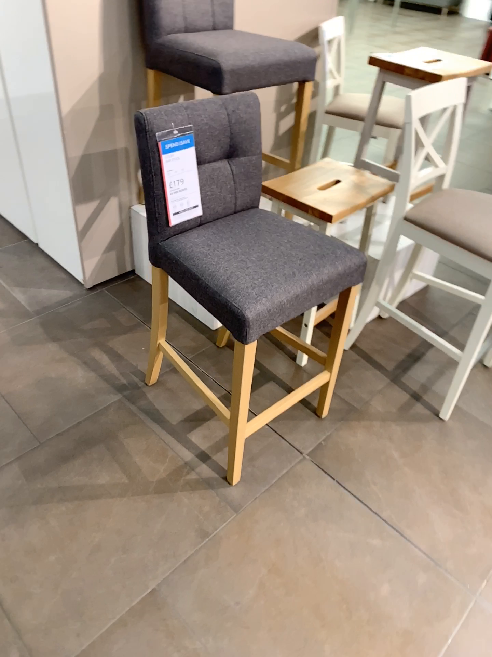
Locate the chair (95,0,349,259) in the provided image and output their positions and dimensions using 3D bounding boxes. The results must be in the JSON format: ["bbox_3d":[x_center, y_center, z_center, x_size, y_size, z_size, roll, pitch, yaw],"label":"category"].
[{"bbox_3d":[-0.099,-0.846,1.802,0.549,0.918,0.541,-30,49,-36],"label":"chair"}]

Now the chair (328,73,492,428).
[{"bbox_3d":[0.702,-0.257,1.678,0.509,0.938,0.501,-30,49,-36],"label":"chair"}]

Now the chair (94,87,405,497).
[{"bbox_3d":[-0.022,-0.103,1.424,0.488,0.908,0.521,-29,49,-35],"label":"chair"}]
